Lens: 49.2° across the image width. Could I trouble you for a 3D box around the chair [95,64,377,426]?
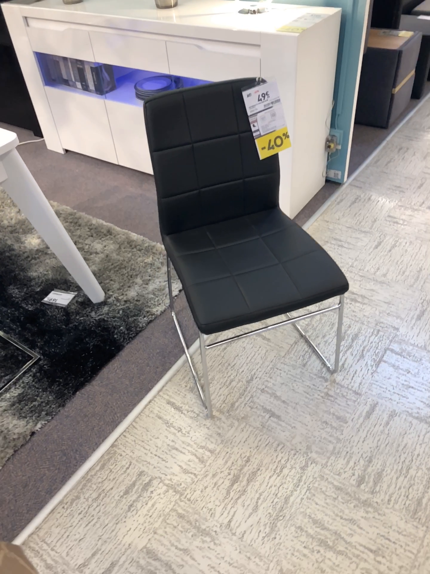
[{"bbox_3d":[0.042,-0.121,1.423,0.521,0.825,0.538,-18,43,-14],"label":"chair"}]
